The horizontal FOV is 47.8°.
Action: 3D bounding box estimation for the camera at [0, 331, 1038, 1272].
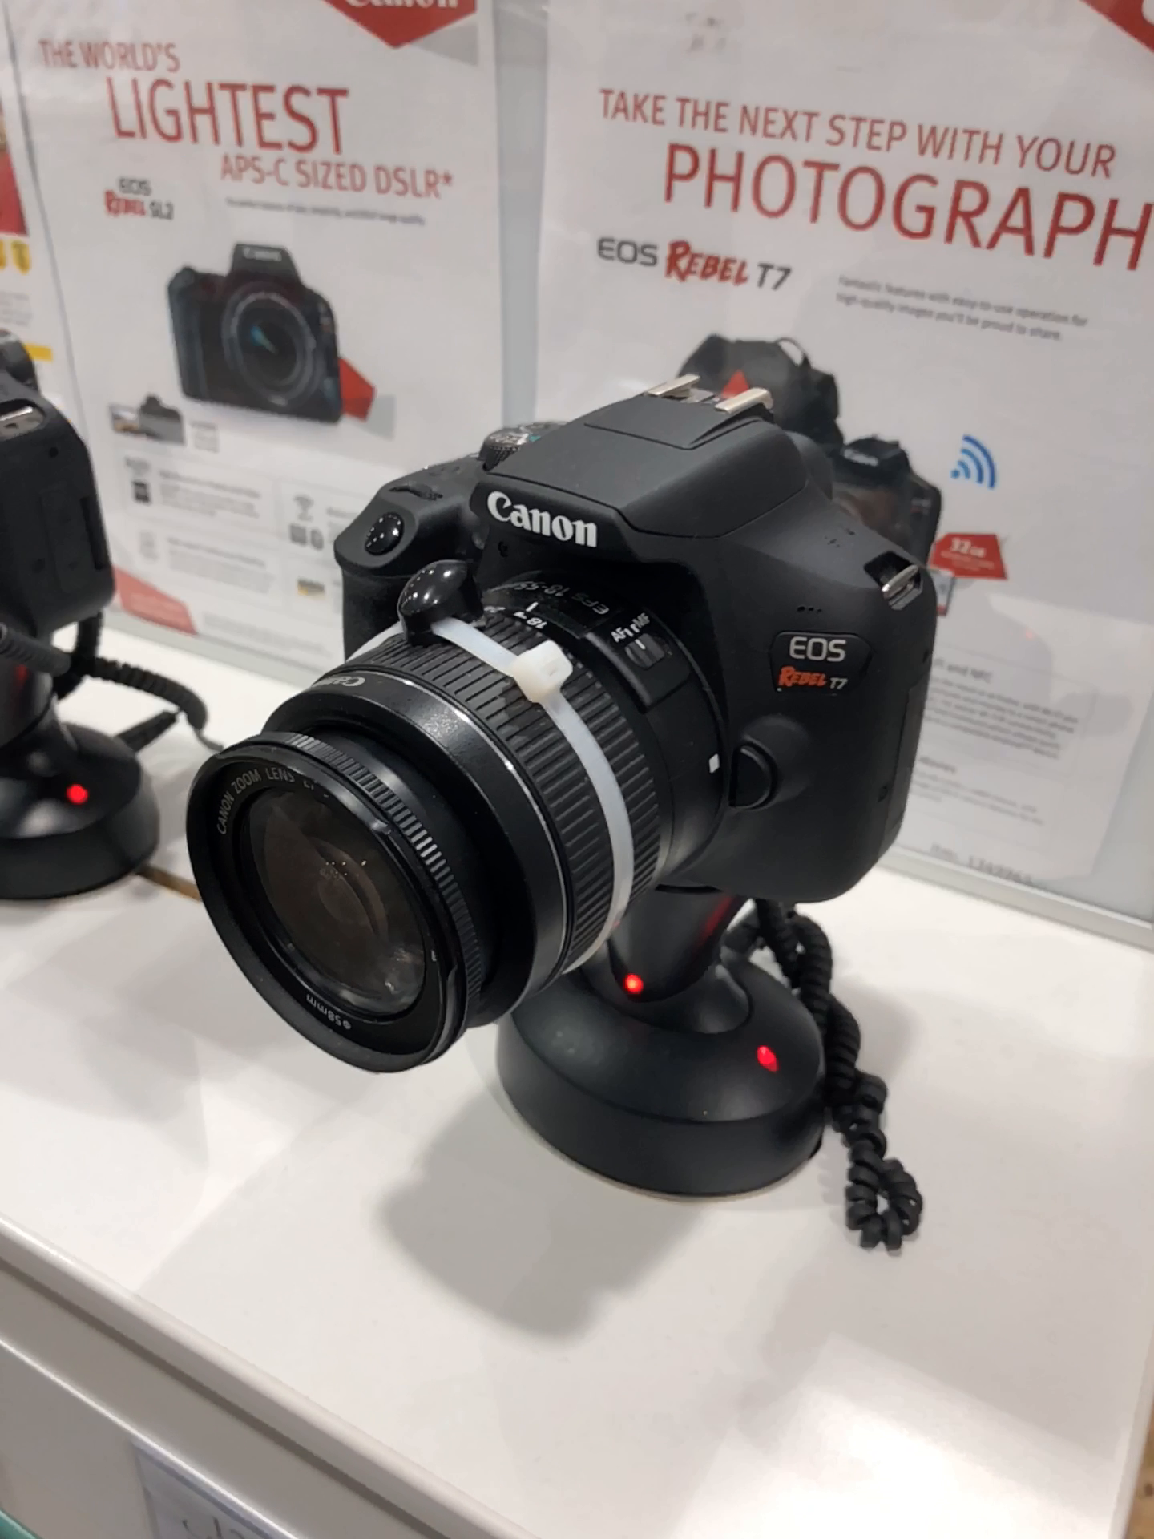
[{"bbox_3d":[-0.011,-0.017,0.256,0.140,0.090,0.150,20,36,29],"label":"camera"}]
